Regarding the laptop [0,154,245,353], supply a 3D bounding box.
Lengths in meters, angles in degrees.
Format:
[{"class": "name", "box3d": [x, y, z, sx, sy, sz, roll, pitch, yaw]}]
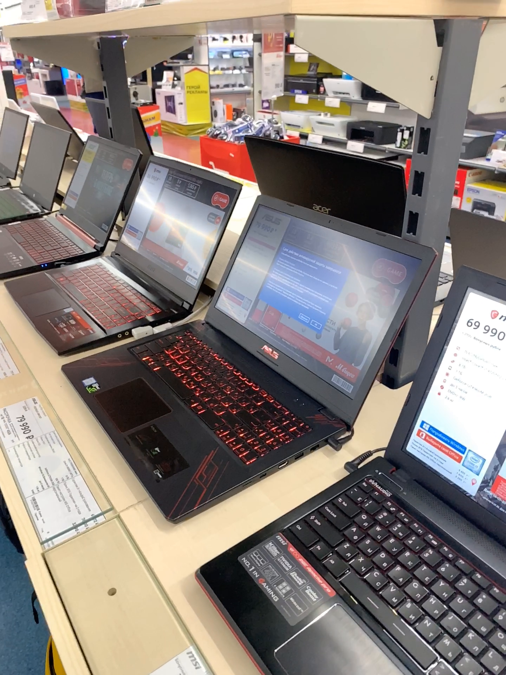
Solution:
[{"class": "laptop", "box3d": [-0.263, -0.188, 0.980, 0.353, 0.209, 0.340, -20, 35, -30]}]

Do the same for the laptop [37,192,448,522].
[{"class": "laptop", "box3d": [-0.030, -0.031, 0.700, 0.382, 0.199, 0.366, -20, 33, -29]}]
